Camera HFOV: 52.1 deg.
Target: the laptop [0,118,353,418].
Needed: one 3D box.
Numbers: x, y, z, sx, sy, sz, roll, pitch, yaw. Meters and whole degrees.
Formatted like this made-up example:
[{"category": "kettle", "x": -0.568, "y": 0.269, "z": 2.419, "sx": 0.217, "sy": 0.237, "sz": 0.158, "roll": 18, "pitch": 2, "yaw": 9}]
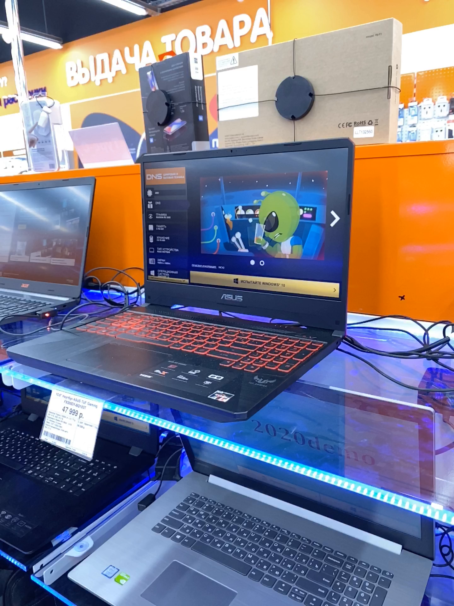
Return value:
[{"category": "laptop", "x": -0.062, "y": -0.071, "z": 0.596, "sx": 0.360, "sy": 0.248, "sz": 0.286, "roll": 7, "pitch": 16, "yaw": 33}]
